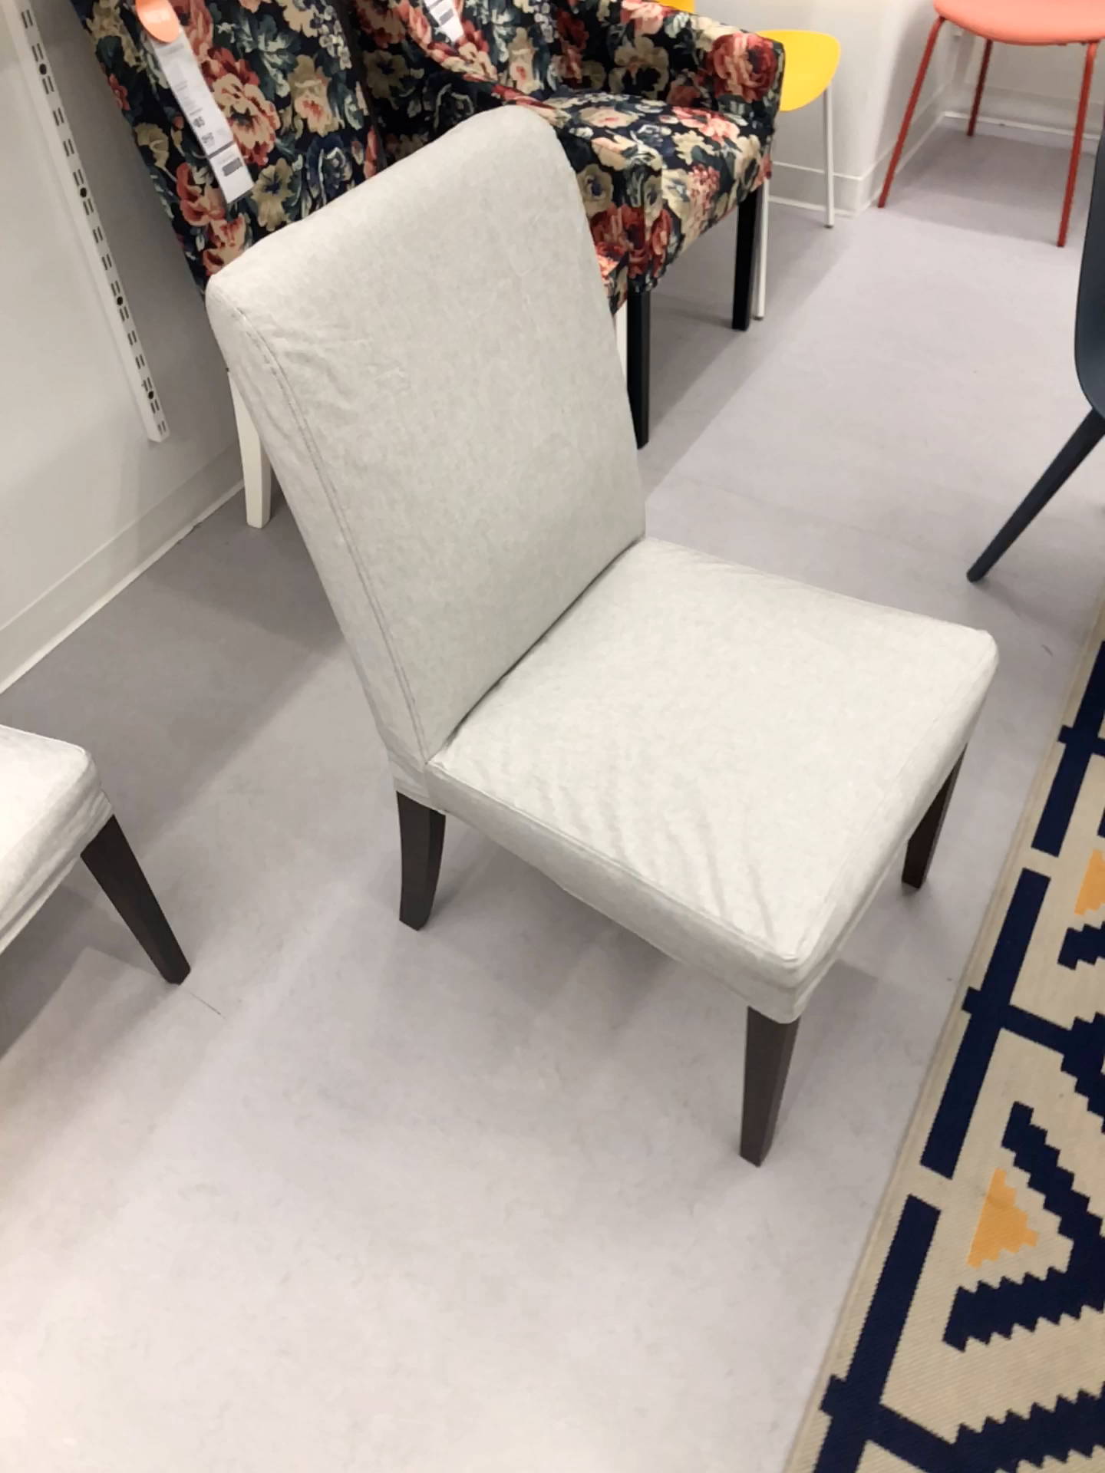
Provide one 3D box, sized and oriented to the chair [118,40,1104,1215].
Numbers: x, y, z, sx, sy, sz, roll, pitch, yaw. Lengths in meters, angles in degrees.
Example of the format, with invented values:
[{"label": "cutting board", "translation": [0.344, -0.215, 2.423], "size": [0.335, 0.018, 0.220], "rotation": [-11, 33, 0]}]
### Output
[{"label": "chair", "translation": [0.124, -0.093, 1.218], "size": [0.642, 0.854, 0.562], "rotation": [24, 53, 23]}]
